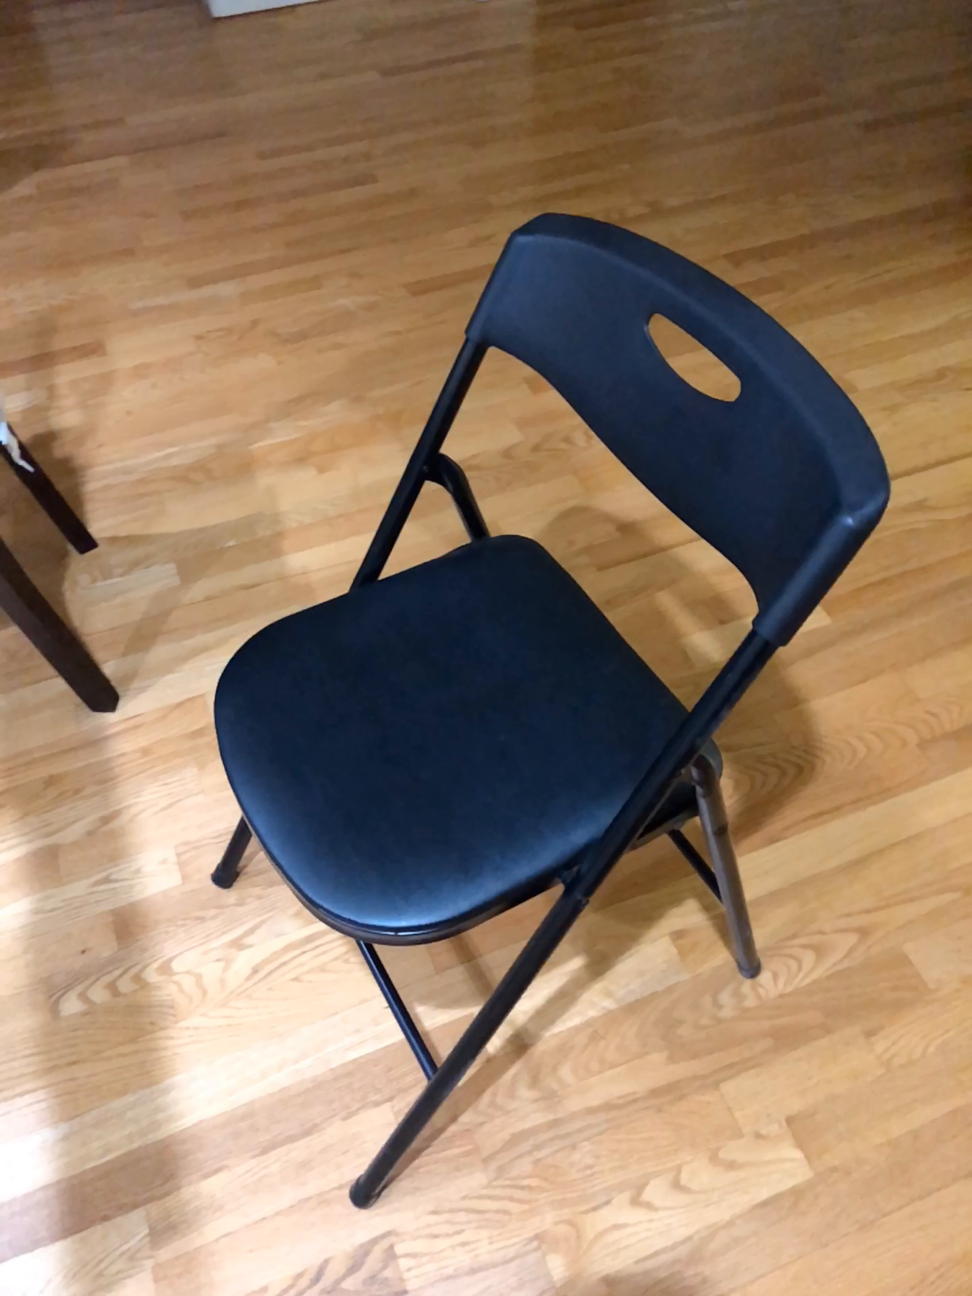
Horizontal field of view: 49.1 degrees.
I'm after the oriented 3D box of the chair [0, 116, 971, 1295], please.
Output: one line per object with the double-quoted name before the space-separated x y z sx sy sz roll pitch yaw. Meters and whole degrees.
"chair" 0.005 0.047 0.969 0.681 0.657 0.612 -25 52 -18
